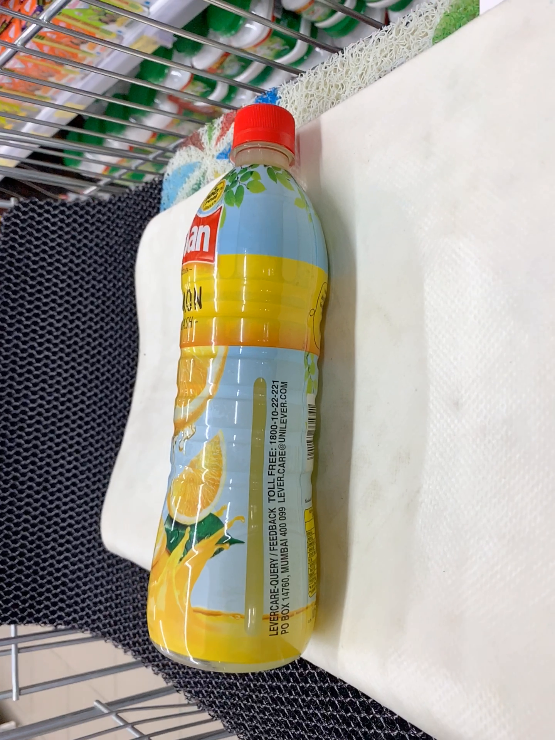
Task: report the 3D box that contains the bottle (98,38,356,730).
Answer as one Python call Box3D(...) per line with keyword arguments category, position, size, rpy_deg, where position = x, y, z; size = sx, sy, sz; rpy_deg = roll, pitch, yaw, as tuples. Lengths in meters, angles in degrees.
Box3D(category="bottle", position=(-0.022, 0.004, 0.244), size=(0.081, 0.070, 0.230), rpy_deg=(-2, 86, 48))
